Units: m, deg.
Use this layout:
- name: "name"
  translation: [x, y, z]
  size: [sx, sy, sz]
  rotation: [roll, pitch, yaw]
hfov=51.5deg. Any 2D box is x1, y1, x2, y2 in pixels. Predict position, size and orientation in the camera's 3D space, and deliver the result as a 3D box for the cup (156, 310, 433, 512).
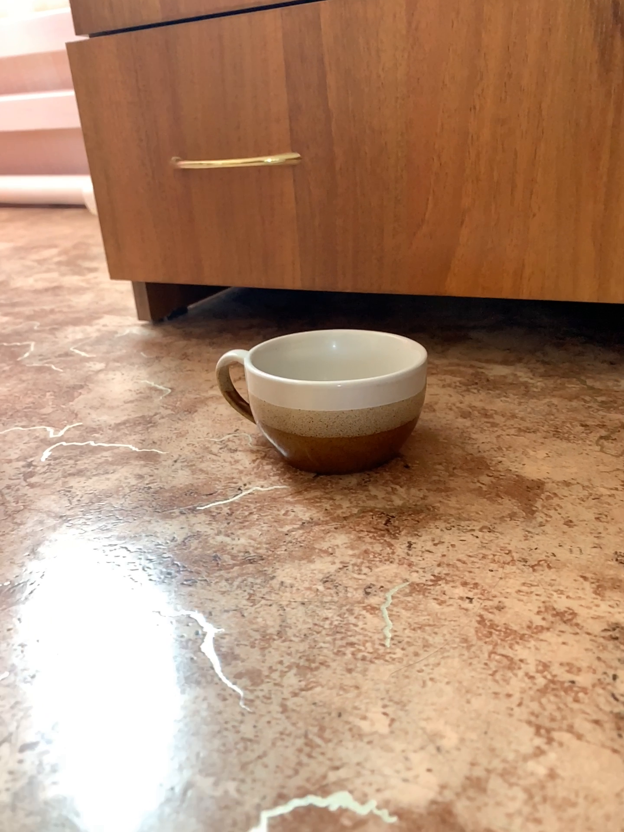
- name: "cup"
  translation: [-0.006, -0.010, 0.349]
  size: [0.115, 0.060, 0.091]
  rotation: [11, 28, 28]
